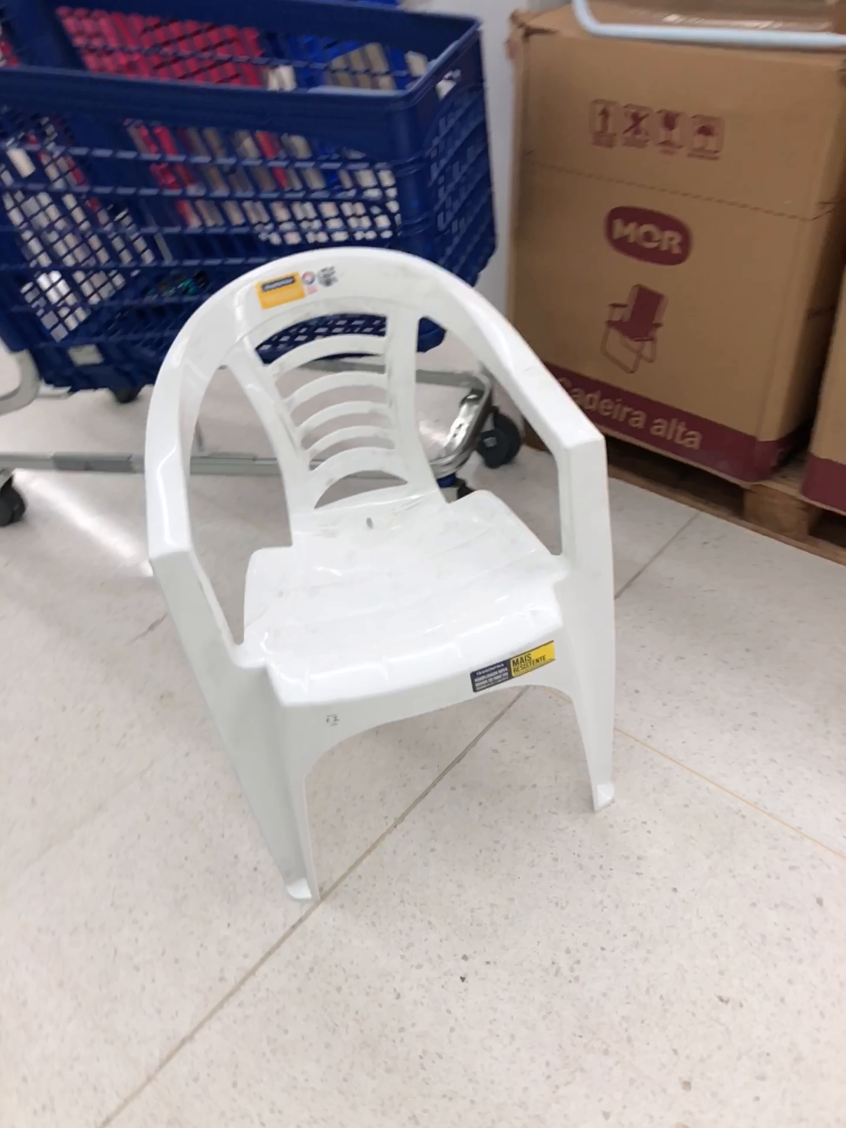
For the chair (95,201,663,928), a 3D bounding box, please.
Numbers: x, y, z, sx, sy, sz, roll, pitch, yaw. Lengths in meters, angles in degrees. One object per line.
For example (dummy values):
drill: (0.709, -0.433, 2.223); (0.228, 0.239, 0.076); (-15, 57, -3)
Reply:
chair: (-0.051, 0.002, 1.235); (0.520, 0.695, 0.503); (-16, 41, -7)
